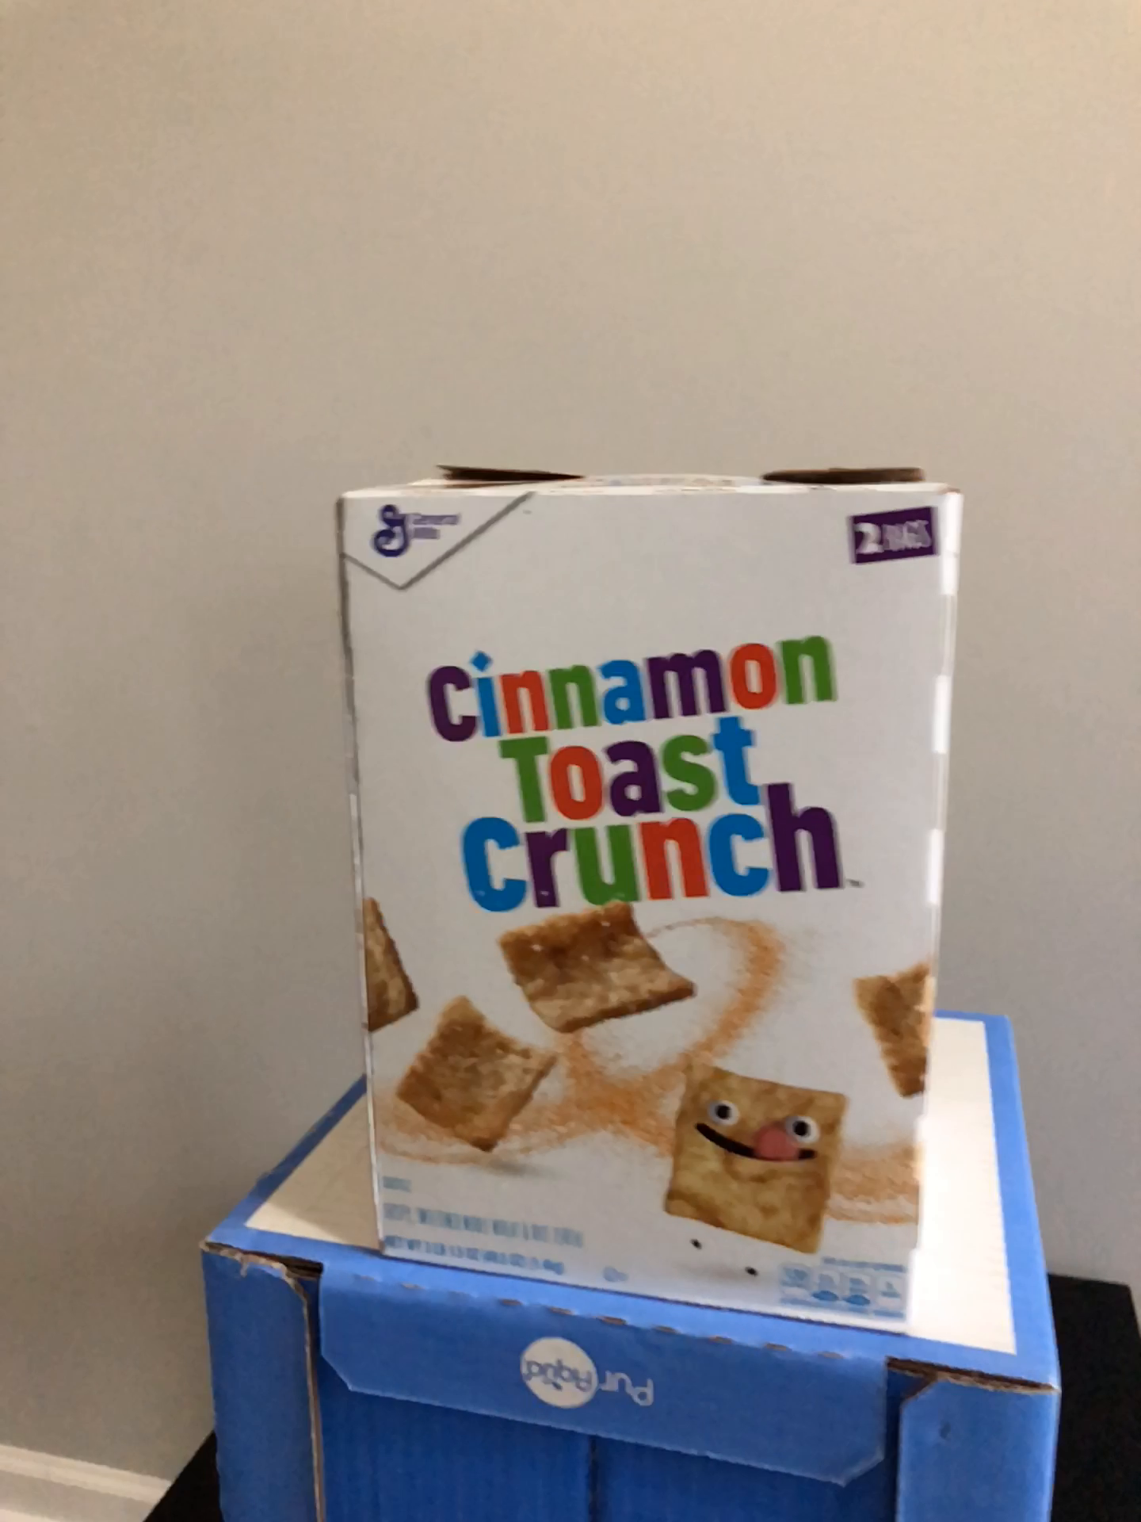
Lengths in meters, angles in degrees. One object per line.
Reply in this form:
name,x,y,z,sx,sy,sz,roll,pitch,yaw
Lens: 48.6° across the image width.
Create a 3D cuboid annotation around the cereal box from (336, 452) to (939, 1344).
cereal box,0.039,0.035,0.524,0.200,0.309,0.170,2,12,14
